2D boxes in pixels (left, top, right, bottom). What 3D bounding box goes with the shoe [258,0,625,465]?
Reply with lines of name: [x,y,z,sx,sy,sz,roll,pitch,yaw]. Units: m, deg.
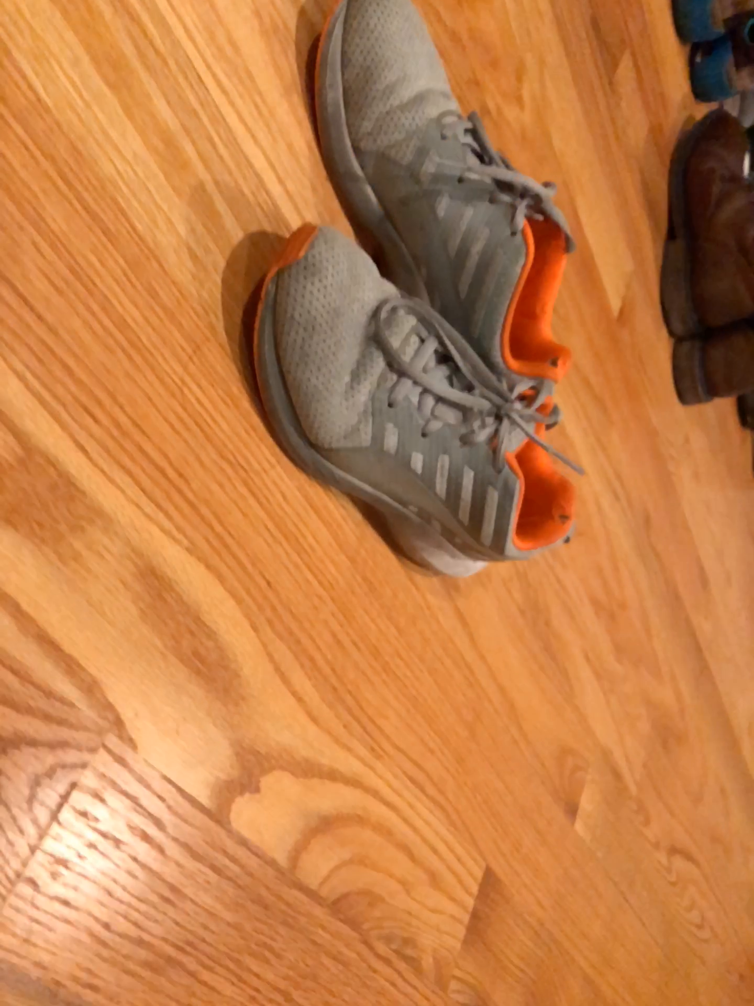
shoe: [0.049,-0.156,0.464,0.101,0.099,0.250,-47,125,-44]

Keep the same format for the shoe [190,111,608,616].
shoe: [0.033,-0.052,0.440,0.251,0.080,0.110,49,51,-41]
